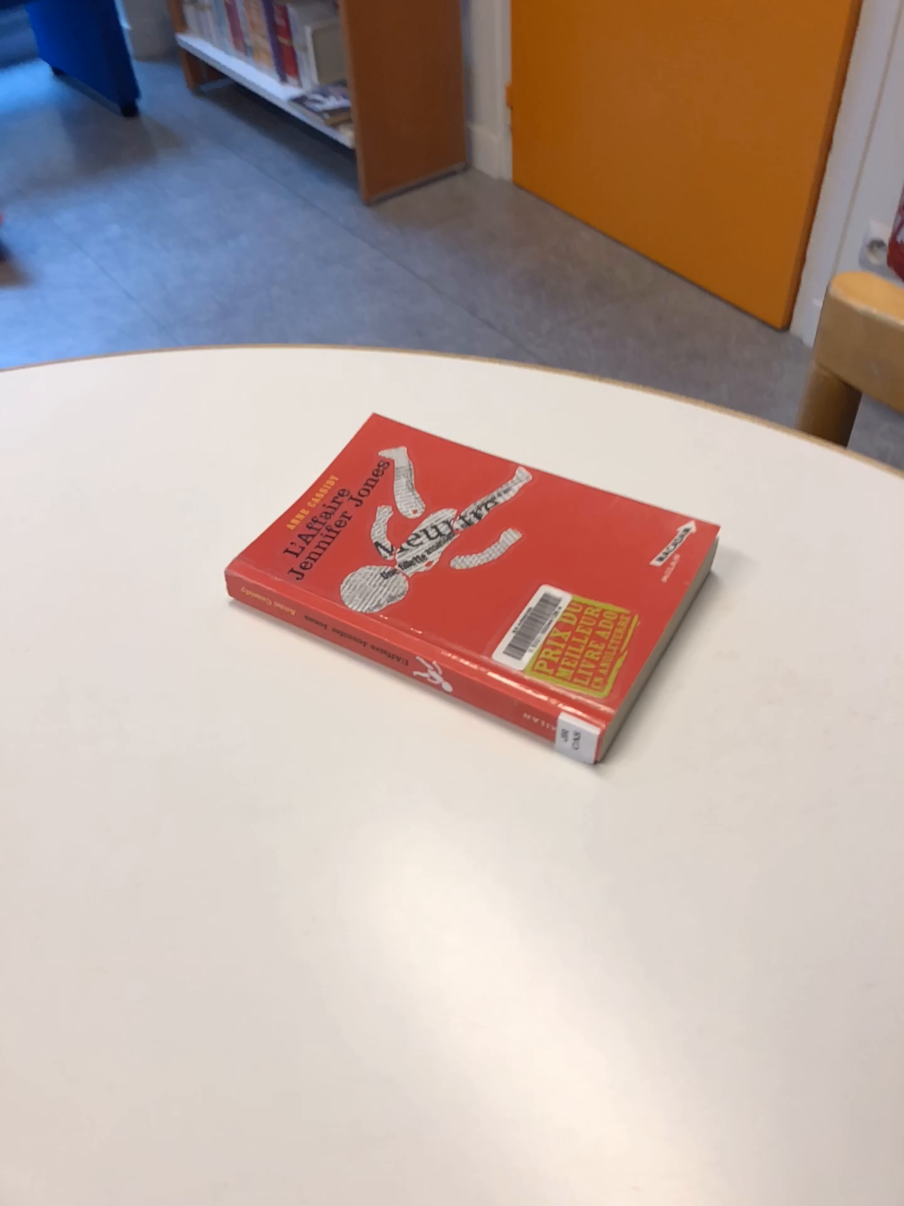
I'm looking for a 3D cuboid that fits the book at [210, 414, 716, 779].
[{"bbox_3d":[0.006,-0.015,0.487,0.202,0.027,0.137,22,54,23],"label":"book"}]
